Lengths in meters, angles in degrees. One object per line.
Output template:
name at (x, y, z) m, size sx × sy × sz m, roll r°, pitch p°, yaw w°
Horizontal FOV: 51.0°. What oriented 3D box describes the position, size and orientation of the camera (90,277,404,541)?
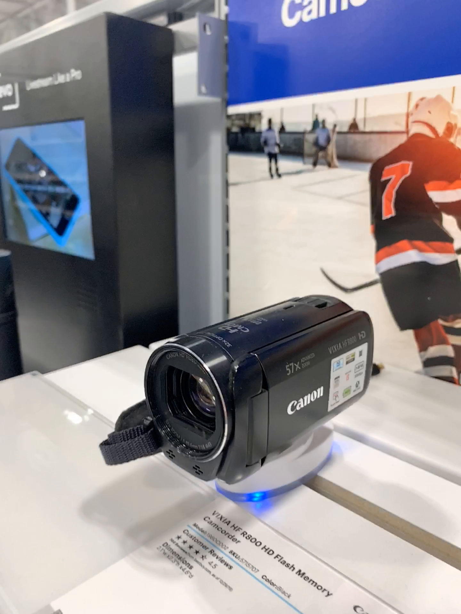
camera at (0.015, 0.032, 0.235) m, size 0.072 × 0.062 × 0.140 m, roll 15°, pitch 22°, yaw 42°
